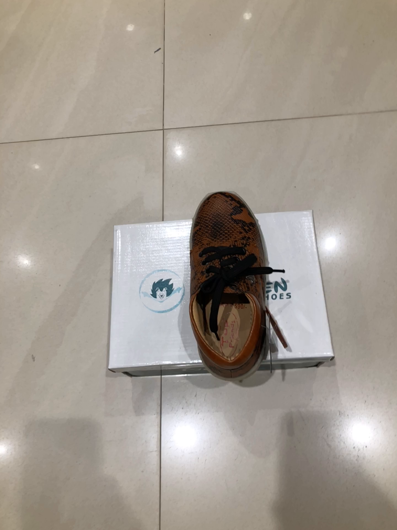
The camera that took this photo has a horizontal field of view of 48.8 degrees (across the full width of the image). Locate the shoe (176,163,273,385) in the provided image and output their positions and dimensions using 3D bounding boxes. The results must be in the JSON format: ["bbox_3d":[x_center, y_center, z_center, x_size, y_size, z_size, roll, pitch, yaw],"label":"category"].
[{"bbox_3d":[0.024,0.012,0.440,0.080,0.090,0.201,-4,69,5],"label":"shoe"}]
